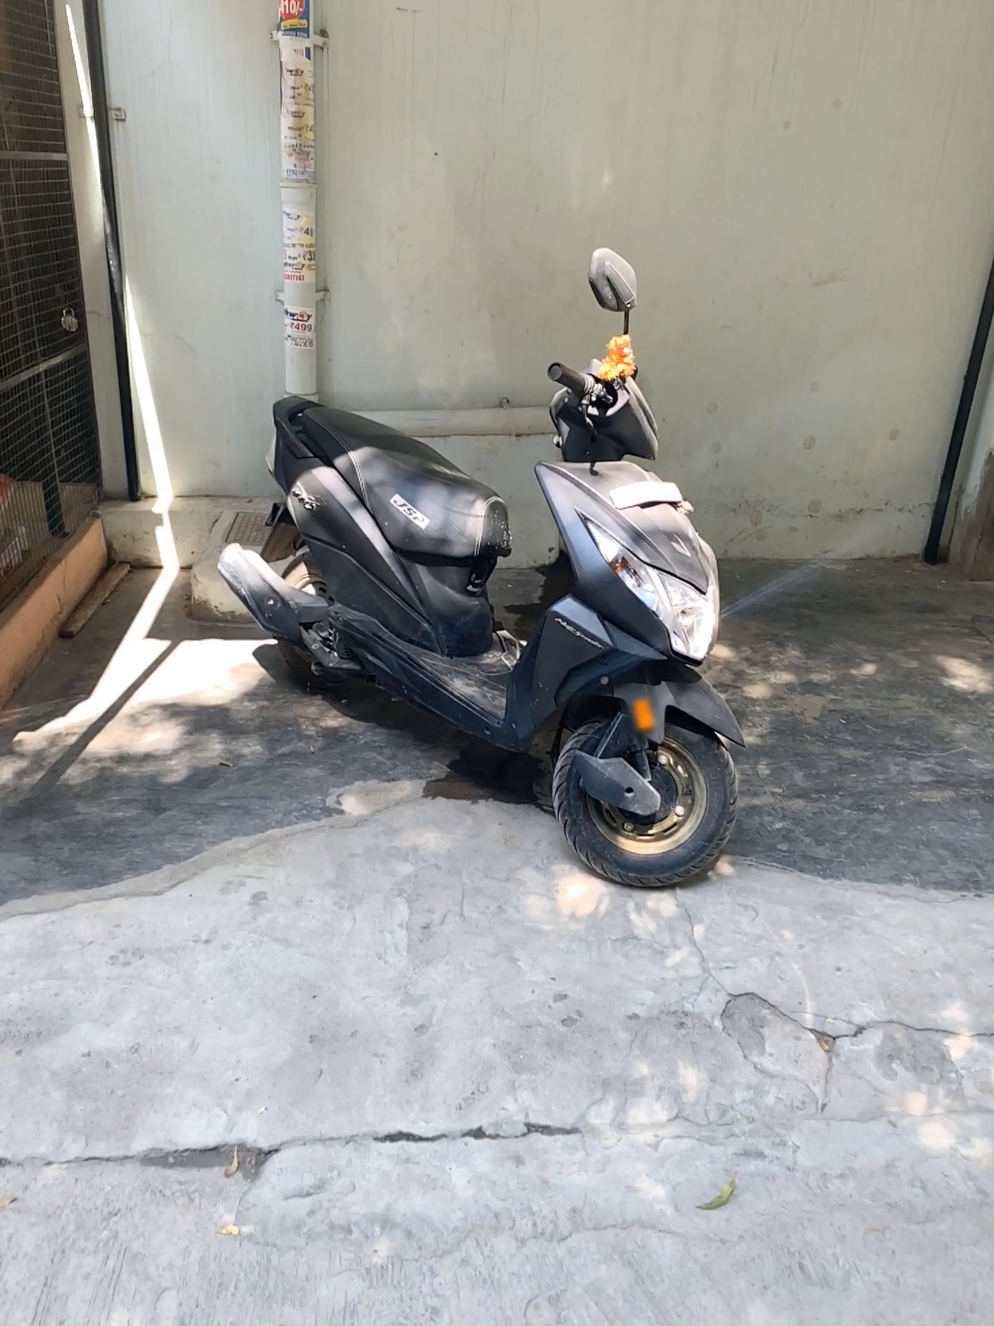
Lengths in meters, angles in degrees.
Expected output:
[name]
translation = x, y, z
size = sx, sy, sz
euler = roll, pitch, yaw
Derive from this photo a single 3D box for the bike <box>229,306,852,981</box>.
[bike]
translation = 0.001, -0.158, 2.740
size = 1.511, 1.278, 0.503
euler = 23, 31, 34
